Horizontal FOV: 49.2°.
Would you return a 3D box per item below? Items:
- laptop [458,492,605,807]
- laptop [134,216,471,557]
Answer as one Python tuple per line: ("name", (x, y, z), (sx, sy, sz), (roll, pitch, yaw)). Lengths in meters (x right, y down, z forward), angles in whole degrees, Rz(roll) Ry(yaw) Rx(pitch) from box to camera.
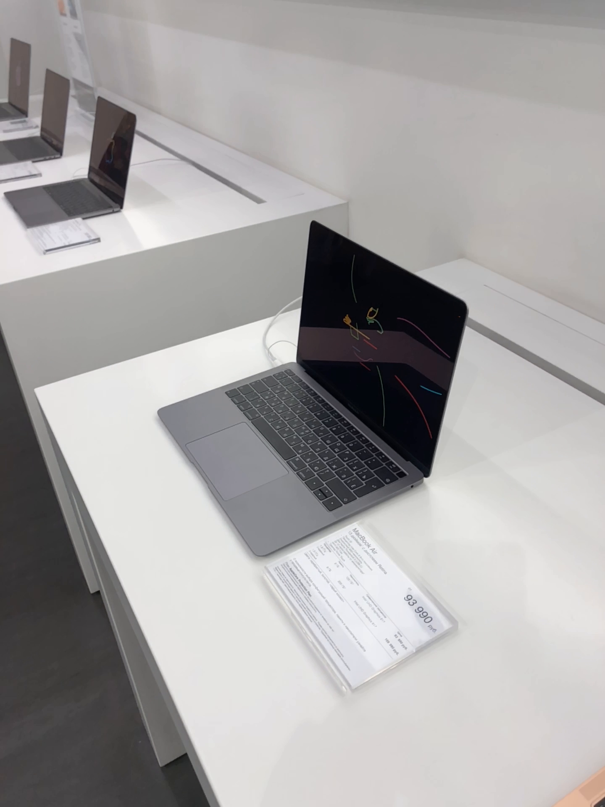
("laptop", (0.283, 0.232, 0.294), (0.260, 0.184, 0.294), (-18, 37, -22))
("laptop", (-0.010, -0.045, 0.743), (0.250, 0.194, 0.286), (-22, 38, -22))
